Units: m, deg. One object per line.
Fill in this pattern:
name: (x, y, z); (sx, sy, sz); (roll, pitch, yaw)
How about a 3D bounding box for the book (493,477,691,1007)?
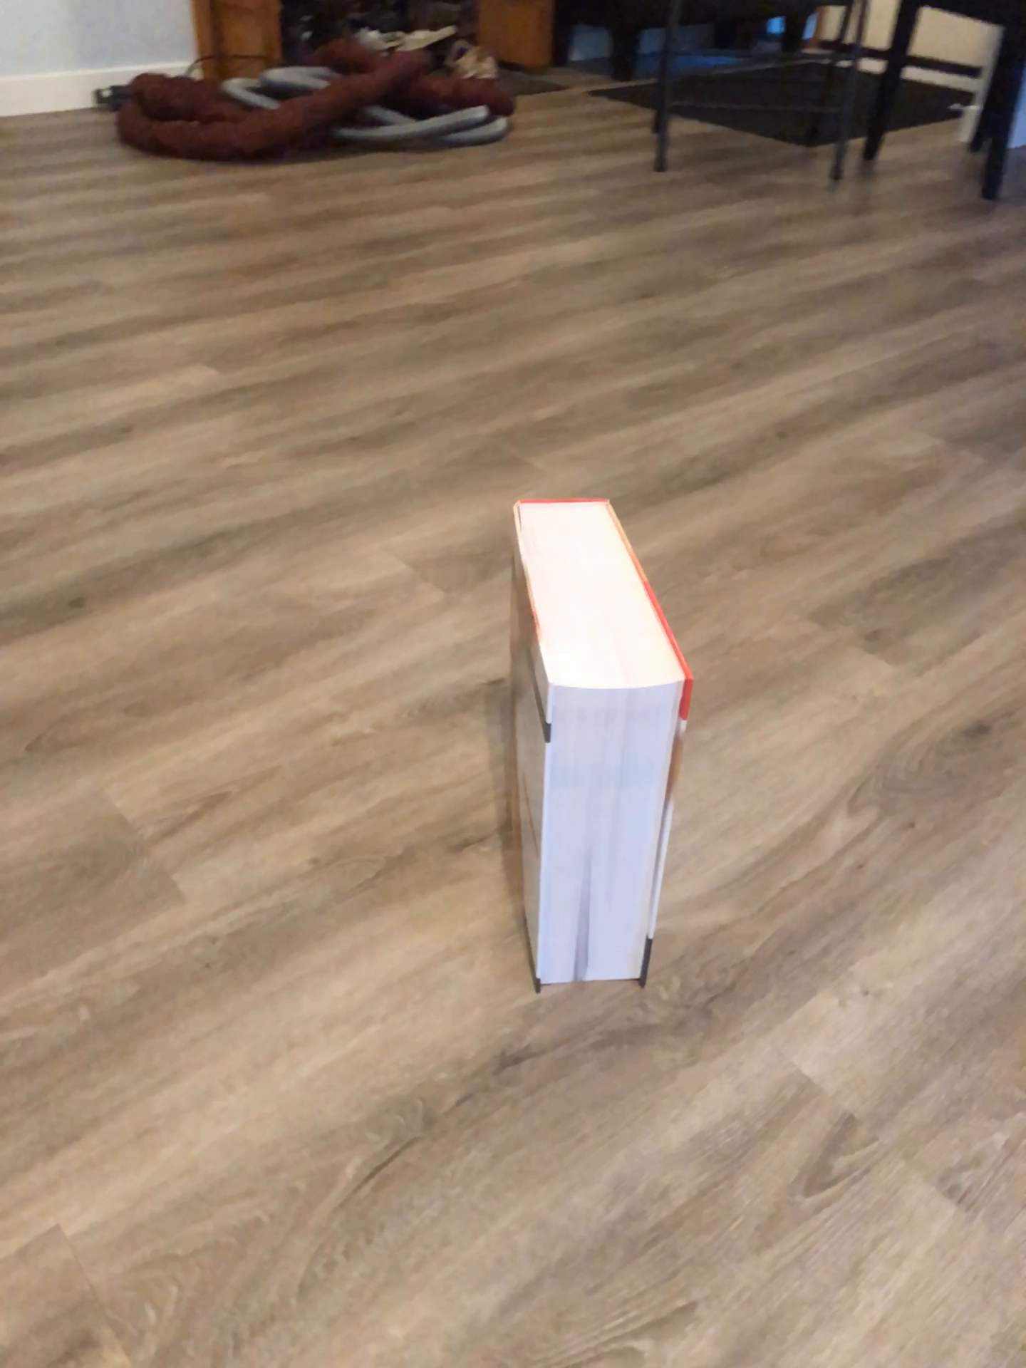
book: (0.042, 0.038, 0.819); (0.087, 0.290, 0.241); (-3, 37, -6)
